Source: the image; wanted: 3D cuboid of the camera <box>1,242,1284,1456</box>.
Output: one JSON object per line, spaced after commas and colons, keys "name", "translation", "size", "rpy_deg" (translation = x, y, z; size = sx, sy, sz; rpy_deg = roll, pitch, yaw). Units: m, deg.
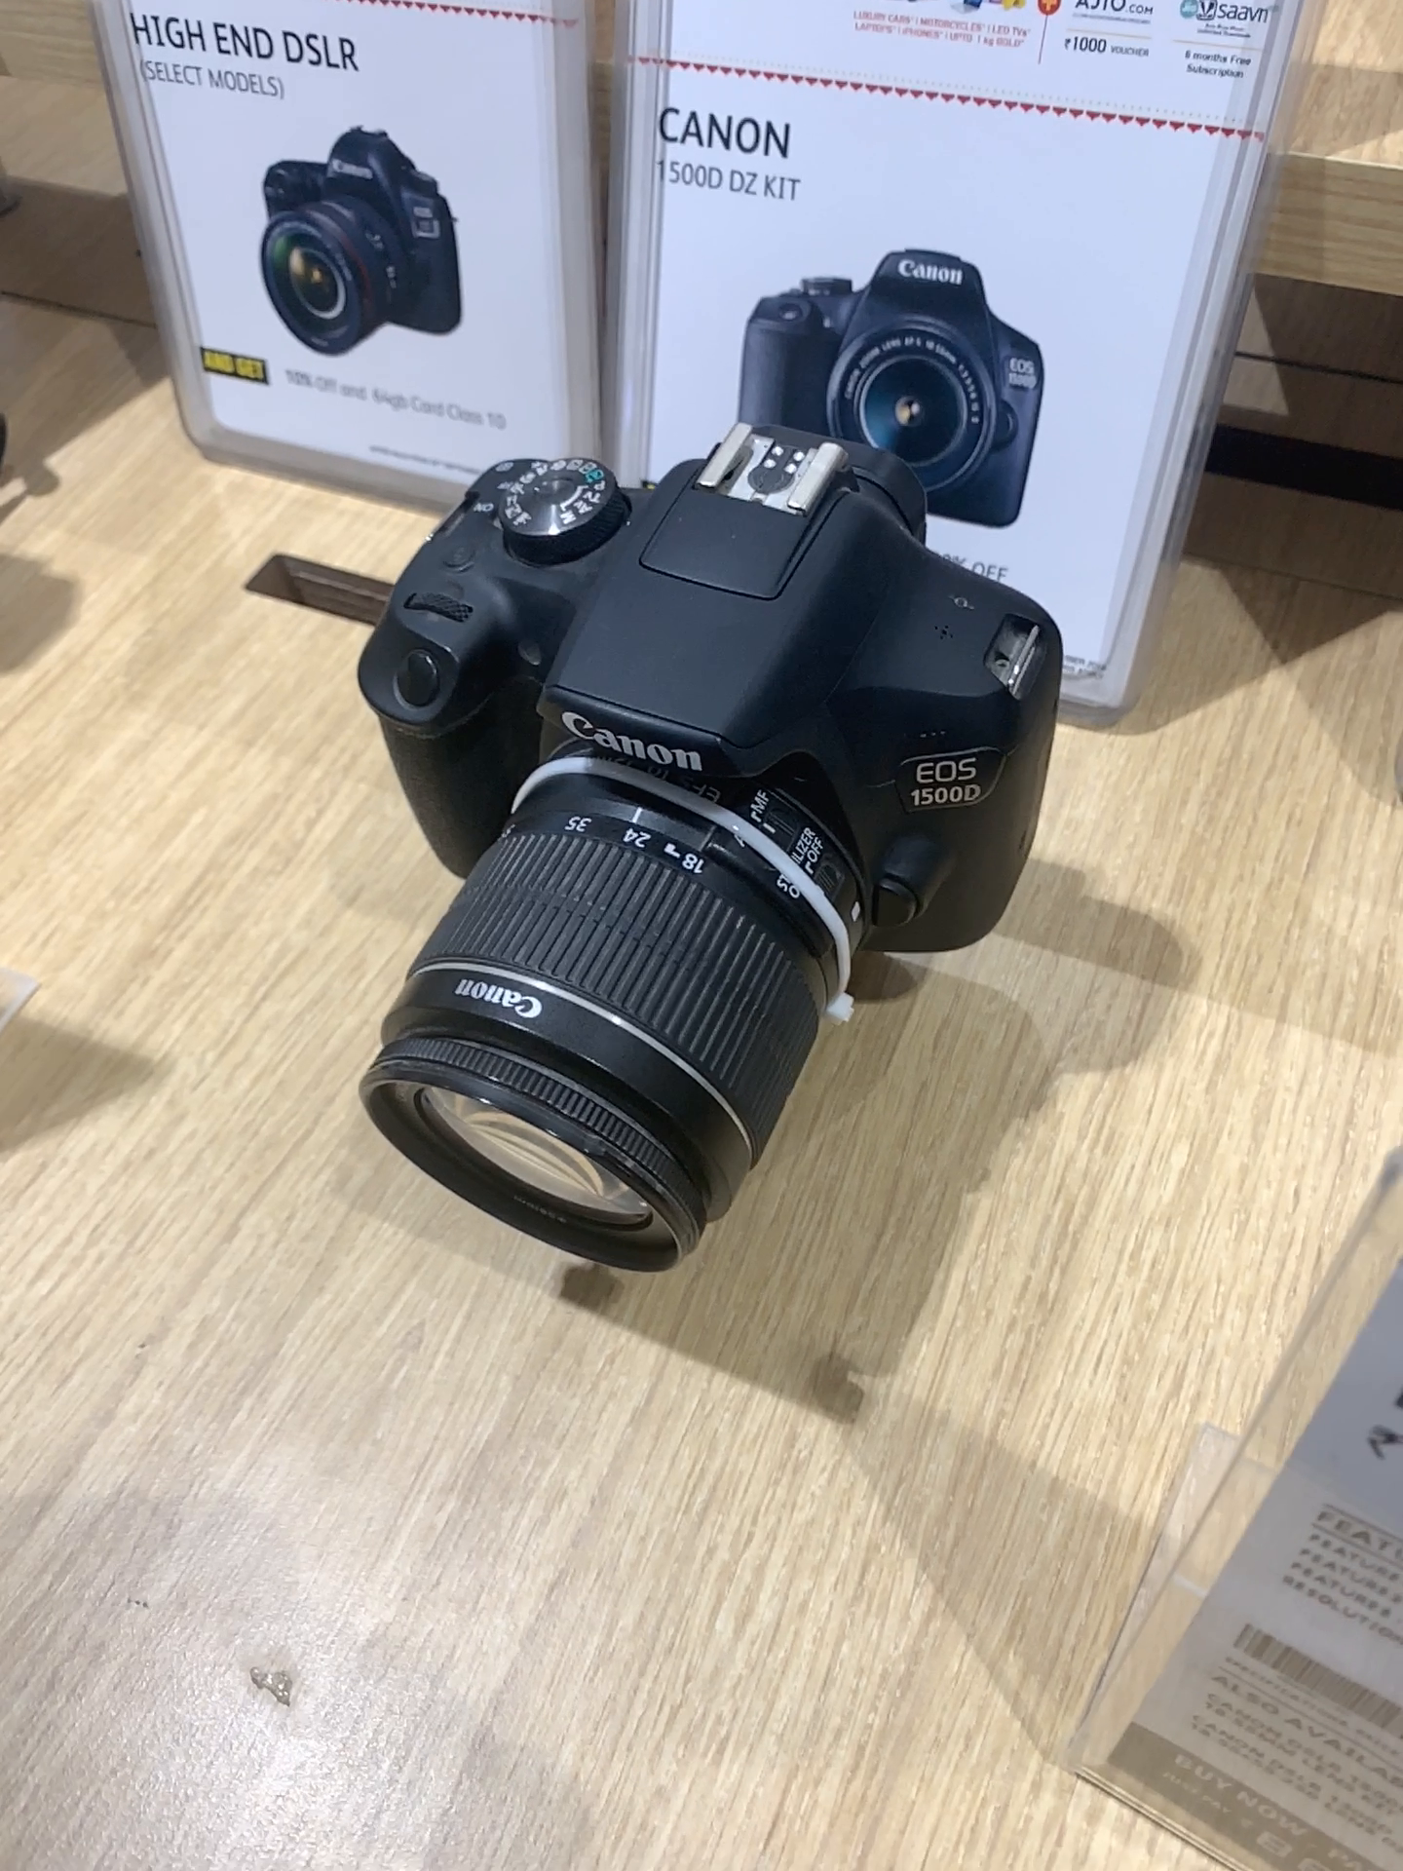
{"name": "camera", "translation": [0.004, -0.025, 0.260], "size": [0.140, 0.100, 0.160], "rpy_deg": [17, 57, 18]}
